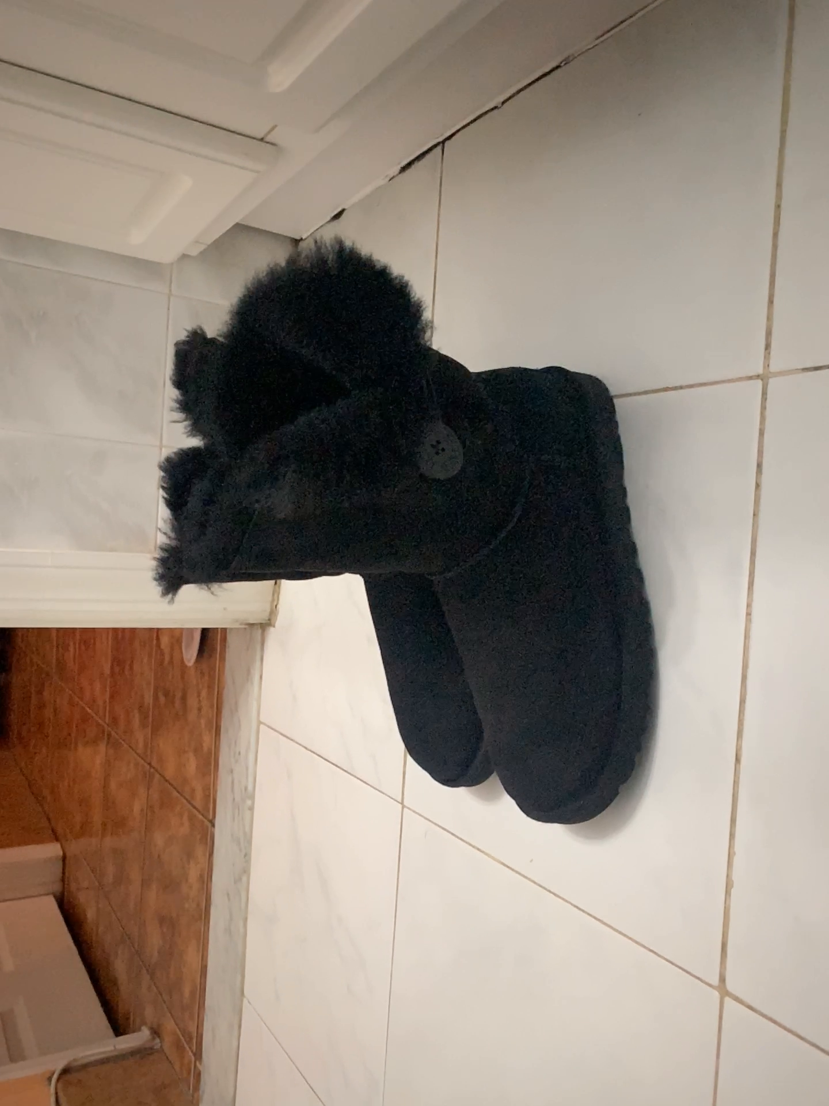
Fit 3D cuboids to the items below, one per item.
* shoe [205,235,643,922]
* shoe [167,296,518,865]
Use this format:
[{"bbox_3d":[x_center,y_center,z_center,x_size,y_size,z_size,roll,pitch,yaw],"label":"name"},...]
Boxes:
[{"bbox_3d":[0.001,0.014,0.440,0.111,0.189,0.280,-12,78,58],"label":"shoe"},{"bbox_3d":[-0.050,0.019,0.523,0.121,0.169,0.290,-16,74,57],"label":"shoe"}]
